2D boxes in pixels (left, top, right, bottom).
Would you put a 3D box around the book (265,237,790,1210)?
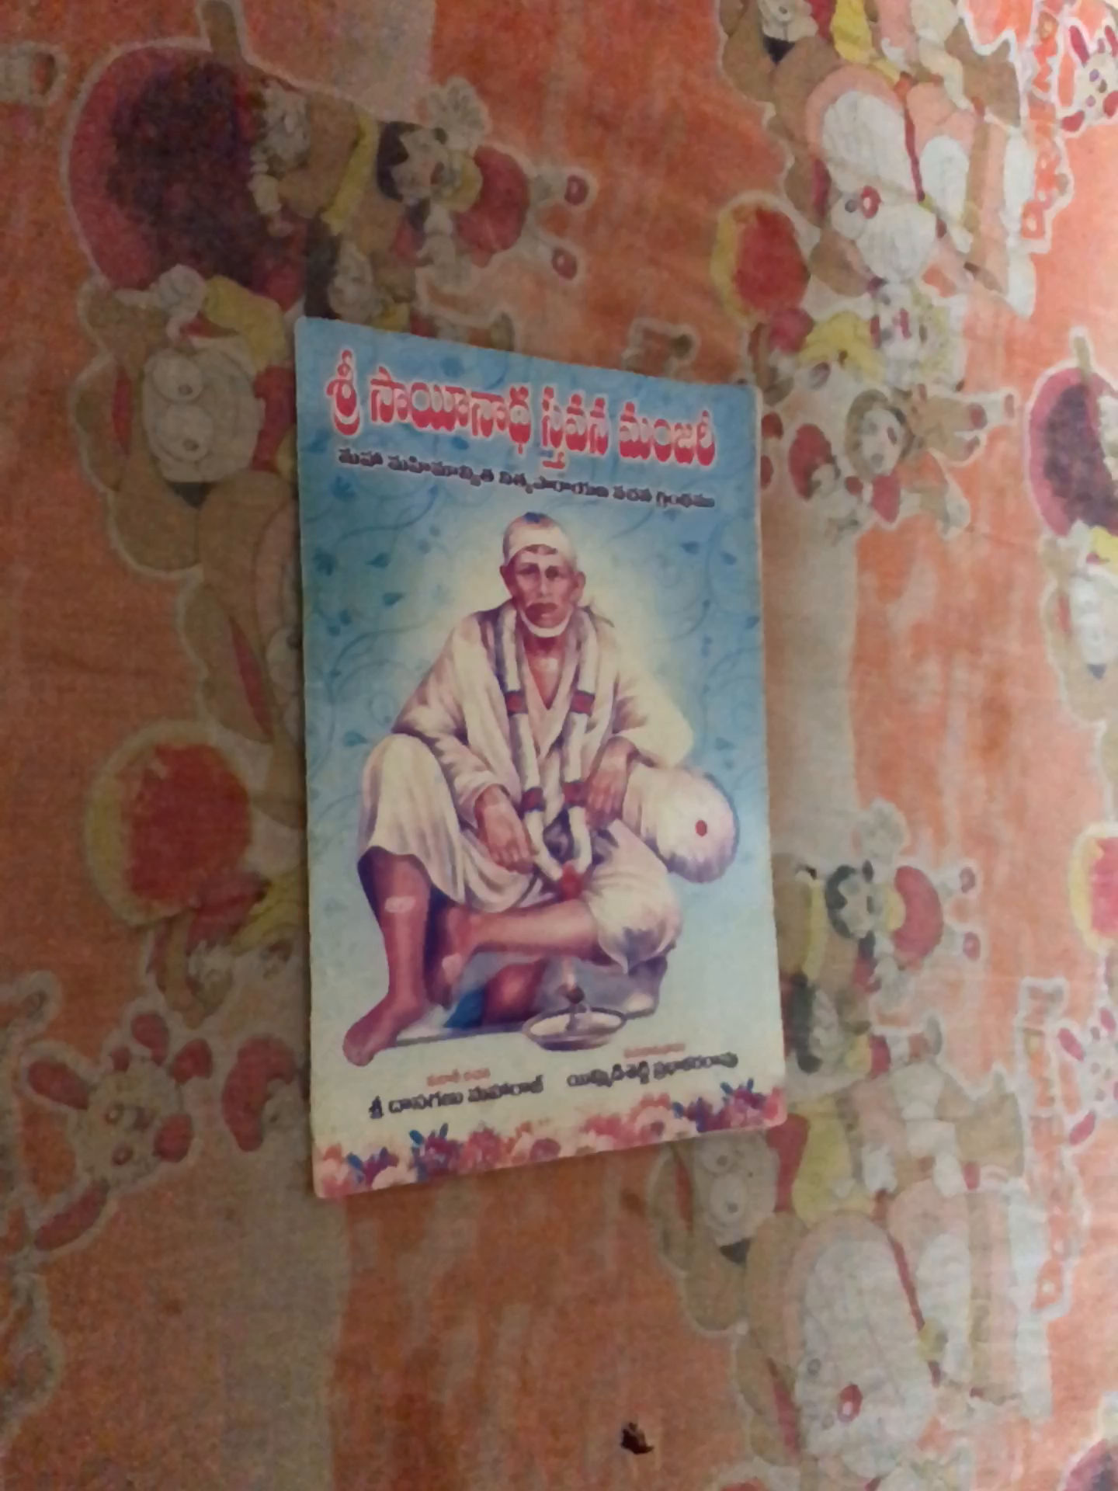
[{"bbox_3d":[-0.005,-0.006,0.325,0.140,0.020,0.220,2,85,-30],"label":"book"}]
